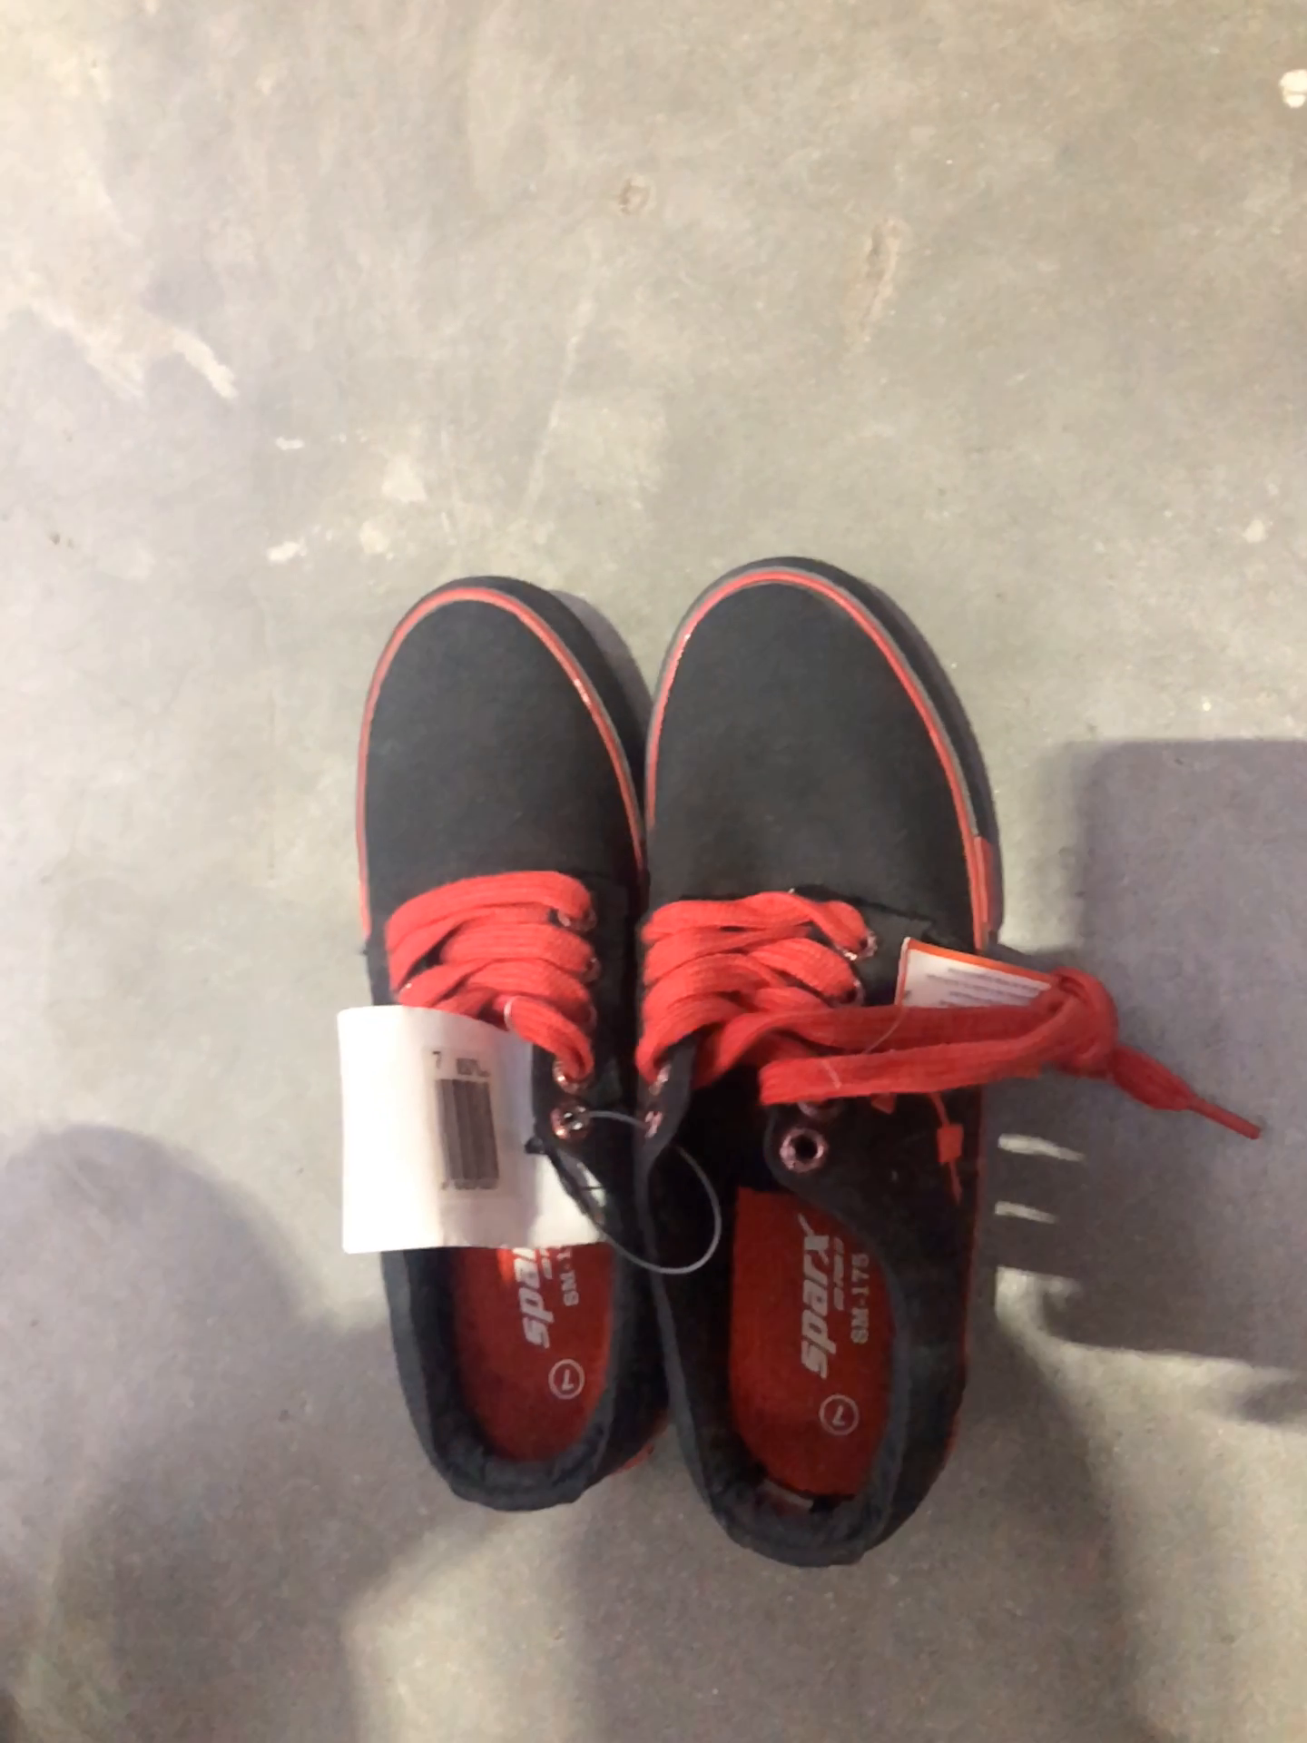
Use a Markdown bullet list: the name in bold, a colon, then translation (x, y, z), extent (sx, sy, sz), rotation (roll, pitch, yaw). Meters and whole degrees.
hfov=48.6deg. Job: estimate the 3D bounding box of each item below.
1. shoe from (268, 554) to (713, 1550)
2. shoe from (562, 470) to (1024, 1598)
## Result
- **shoe**: translation (-0.043, 0.048, 0.425), extent (0.100, 0.100, 0.250), rotation (-4, 84, 3)
- **shoe**: translation (0.042, 0.037, 0.386), extent (0.100, 0.100, 0.250), rotation (-1, 85, 18)
